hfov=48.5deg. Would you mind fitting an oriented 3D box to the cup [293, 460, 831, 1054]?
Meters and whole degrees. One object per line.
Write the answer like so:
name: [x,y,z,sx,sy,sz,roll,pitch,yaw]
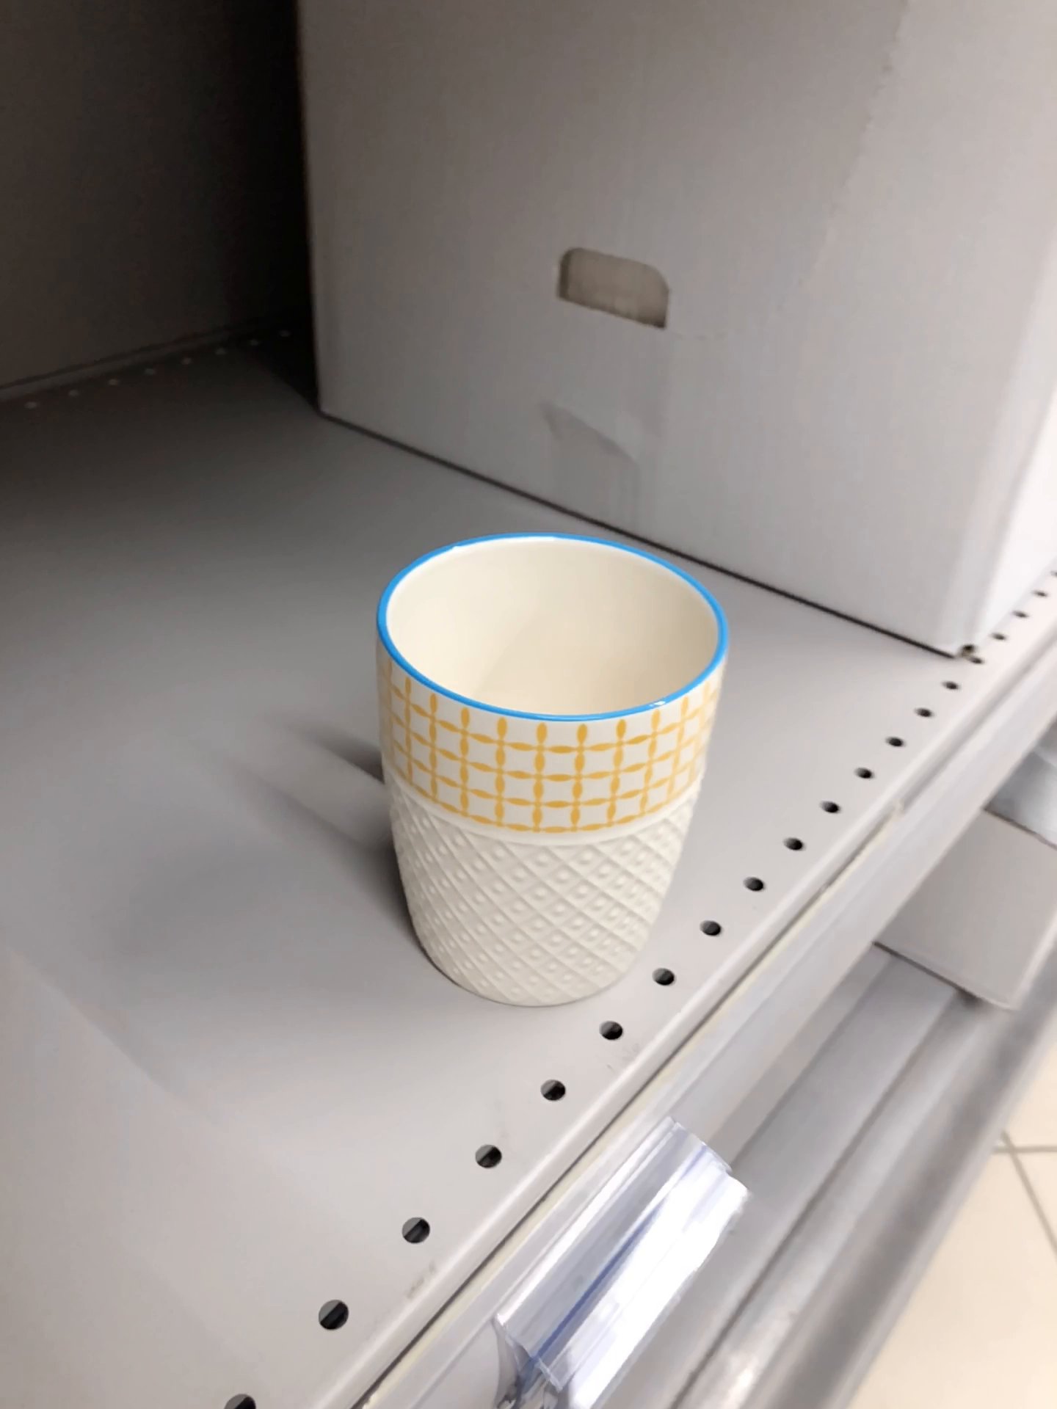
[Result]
cup: [0.001,0.007,0.318,0.105,0.092,0.118,-9,38,-11]
